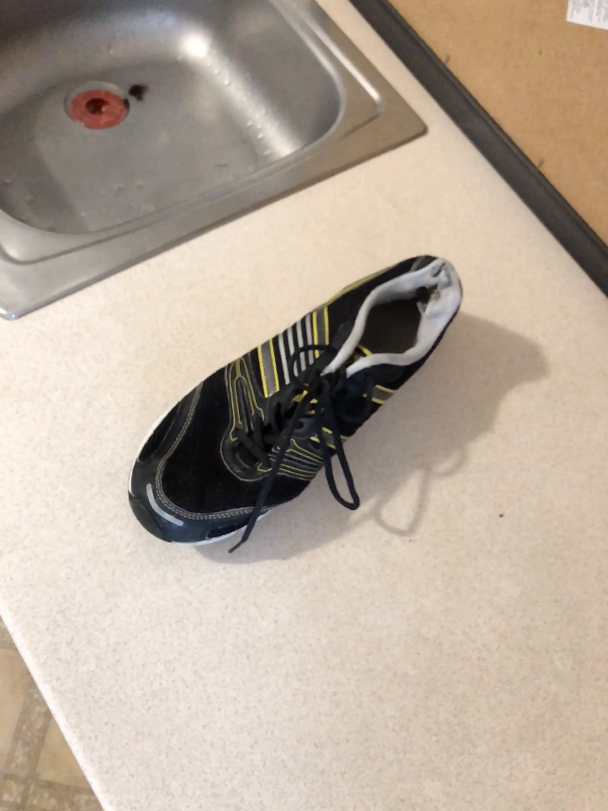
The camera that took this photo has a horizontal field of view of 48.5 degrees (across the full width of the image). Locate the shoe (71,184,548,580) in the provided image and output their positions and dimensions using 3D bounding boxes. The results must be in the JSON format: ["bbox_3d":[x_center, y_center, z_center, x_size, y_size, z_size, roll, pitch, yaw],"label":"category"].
[{"bbox_3d":[0.011,-0.023,0.481,0.311,0.100,0.110,-33,76,-21],"label":"shoe"}]
